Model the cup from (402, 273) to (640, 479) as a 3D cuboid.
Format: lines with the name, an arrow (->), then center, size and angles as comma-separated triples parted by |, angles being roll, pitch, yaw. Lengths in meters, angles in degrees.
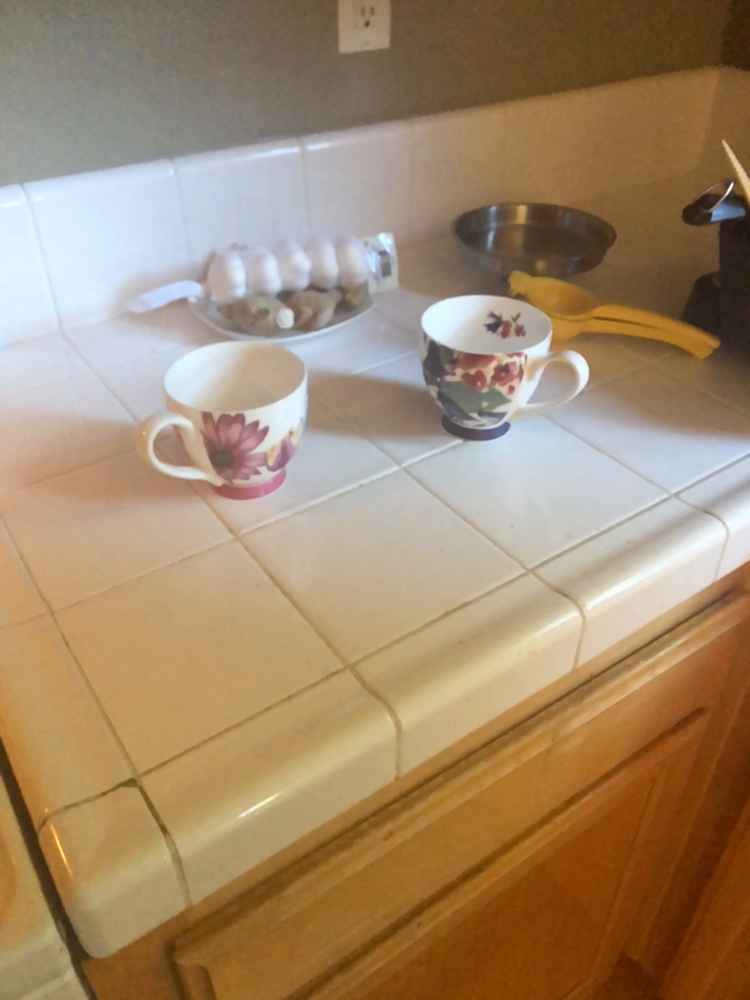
cup -> 0.115, -0.108, 0.686 | 0.150, 0.089, 0.111 | 30, 47, 32

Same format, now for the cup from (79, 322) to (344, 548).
cup -> -0.117, -0.055, 0.616 | 0.151, 0.079, 0.110 | -27, 45, -30
